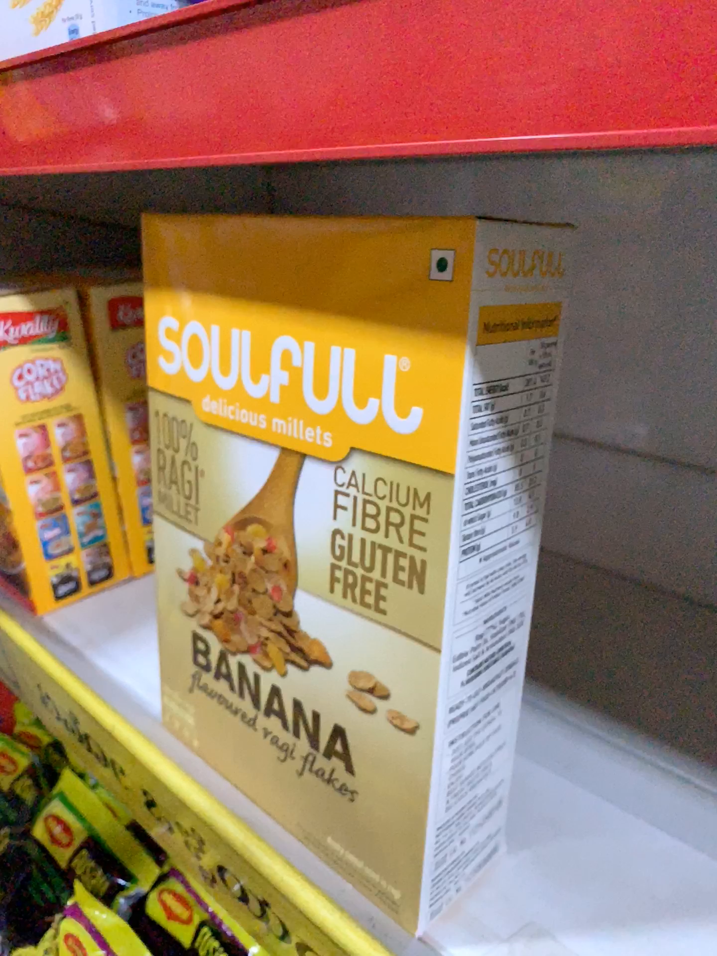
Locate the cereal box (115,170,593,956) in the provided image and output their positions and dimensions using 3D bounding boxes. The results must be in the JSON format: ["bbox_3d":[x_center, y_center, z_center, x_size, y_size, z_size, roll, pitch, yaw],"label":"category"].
[{"bbox_3d":[-0.017,0.015,0.278,0.161,0.229,0.060,17,21,41],"label":"cereal box"}]
